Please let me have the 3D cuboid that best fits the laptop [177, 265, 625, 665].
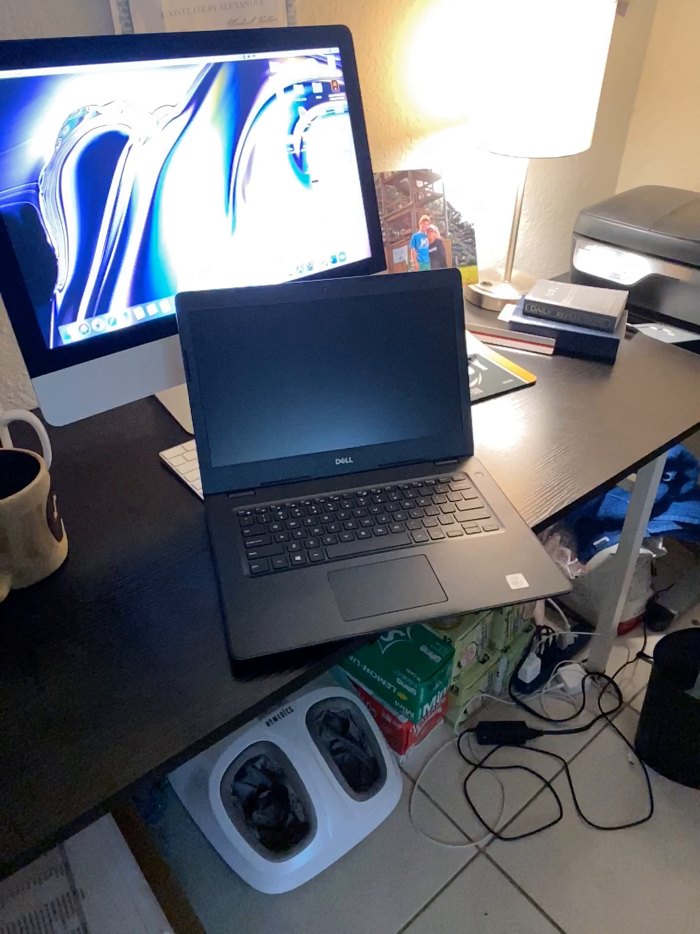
[{"bbox_3d":[0.017,-0.033,0.744,0.336,0.206,0.345,-9,37,-12],"label":"laptop"}]
